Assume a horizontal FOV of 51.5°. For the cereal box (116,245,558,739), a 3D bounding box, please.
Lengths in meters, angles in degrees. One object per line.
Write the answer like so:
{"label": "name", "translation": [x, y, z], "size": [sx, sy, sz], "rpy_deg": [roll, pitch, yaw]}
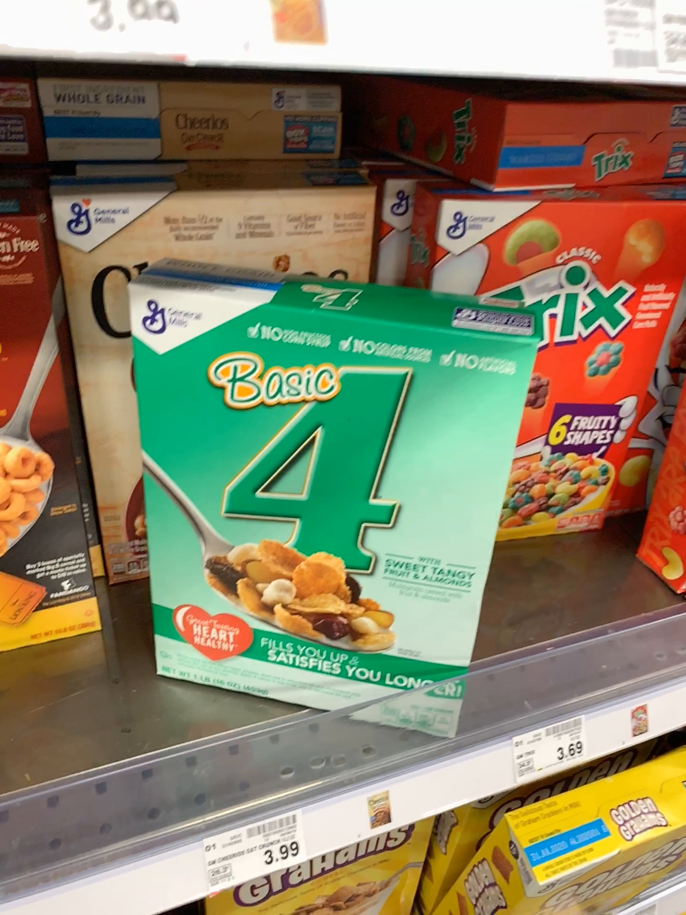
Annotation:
{"label": "cereal box", "translation": [-0.011, 0.029, 0.400], "size": [0.200, 0.259, 0.050], "rpy_deg": [9, 30, 8]}
